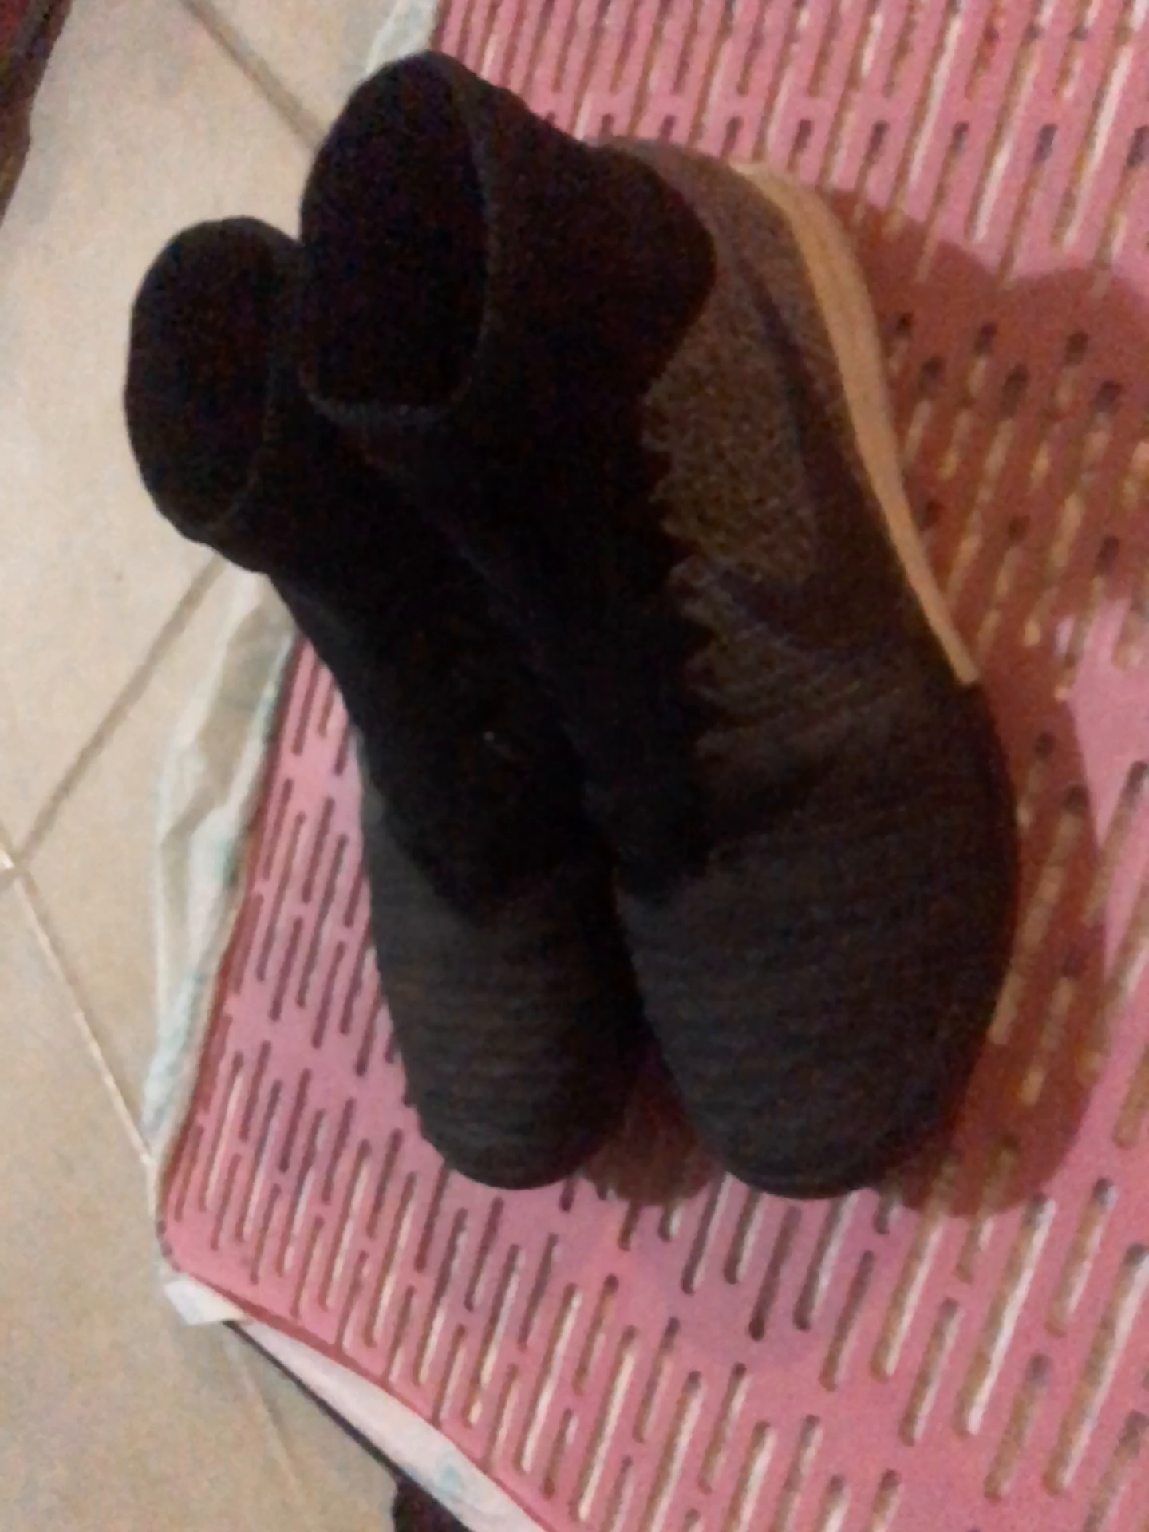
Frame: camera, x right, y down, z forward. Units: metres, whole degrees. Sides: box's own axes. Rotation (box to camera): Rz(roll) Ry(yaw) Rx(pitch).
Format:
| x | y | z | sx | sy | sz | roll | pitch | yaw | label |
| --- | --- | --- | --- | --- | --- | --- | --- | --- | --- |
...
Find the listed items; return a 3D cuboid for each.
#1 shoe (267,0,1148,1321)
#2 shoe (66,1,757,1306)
| x | y | z | sx | sy | sz | roll | pitch | yaw | label |
| --- | --- | --- | --- | --- | --- | --- | --- | --- | --- |
| 0.035 | -0.031 | 0.298 | 0.100 | 0.149 | 0.260 | -16 | 78 | 34 | shoe |
| -0.040 | -0.021 | 0.352 | 0.100 | 0.149 | 0.270 | -7 | 83 | 35 | shoe |
